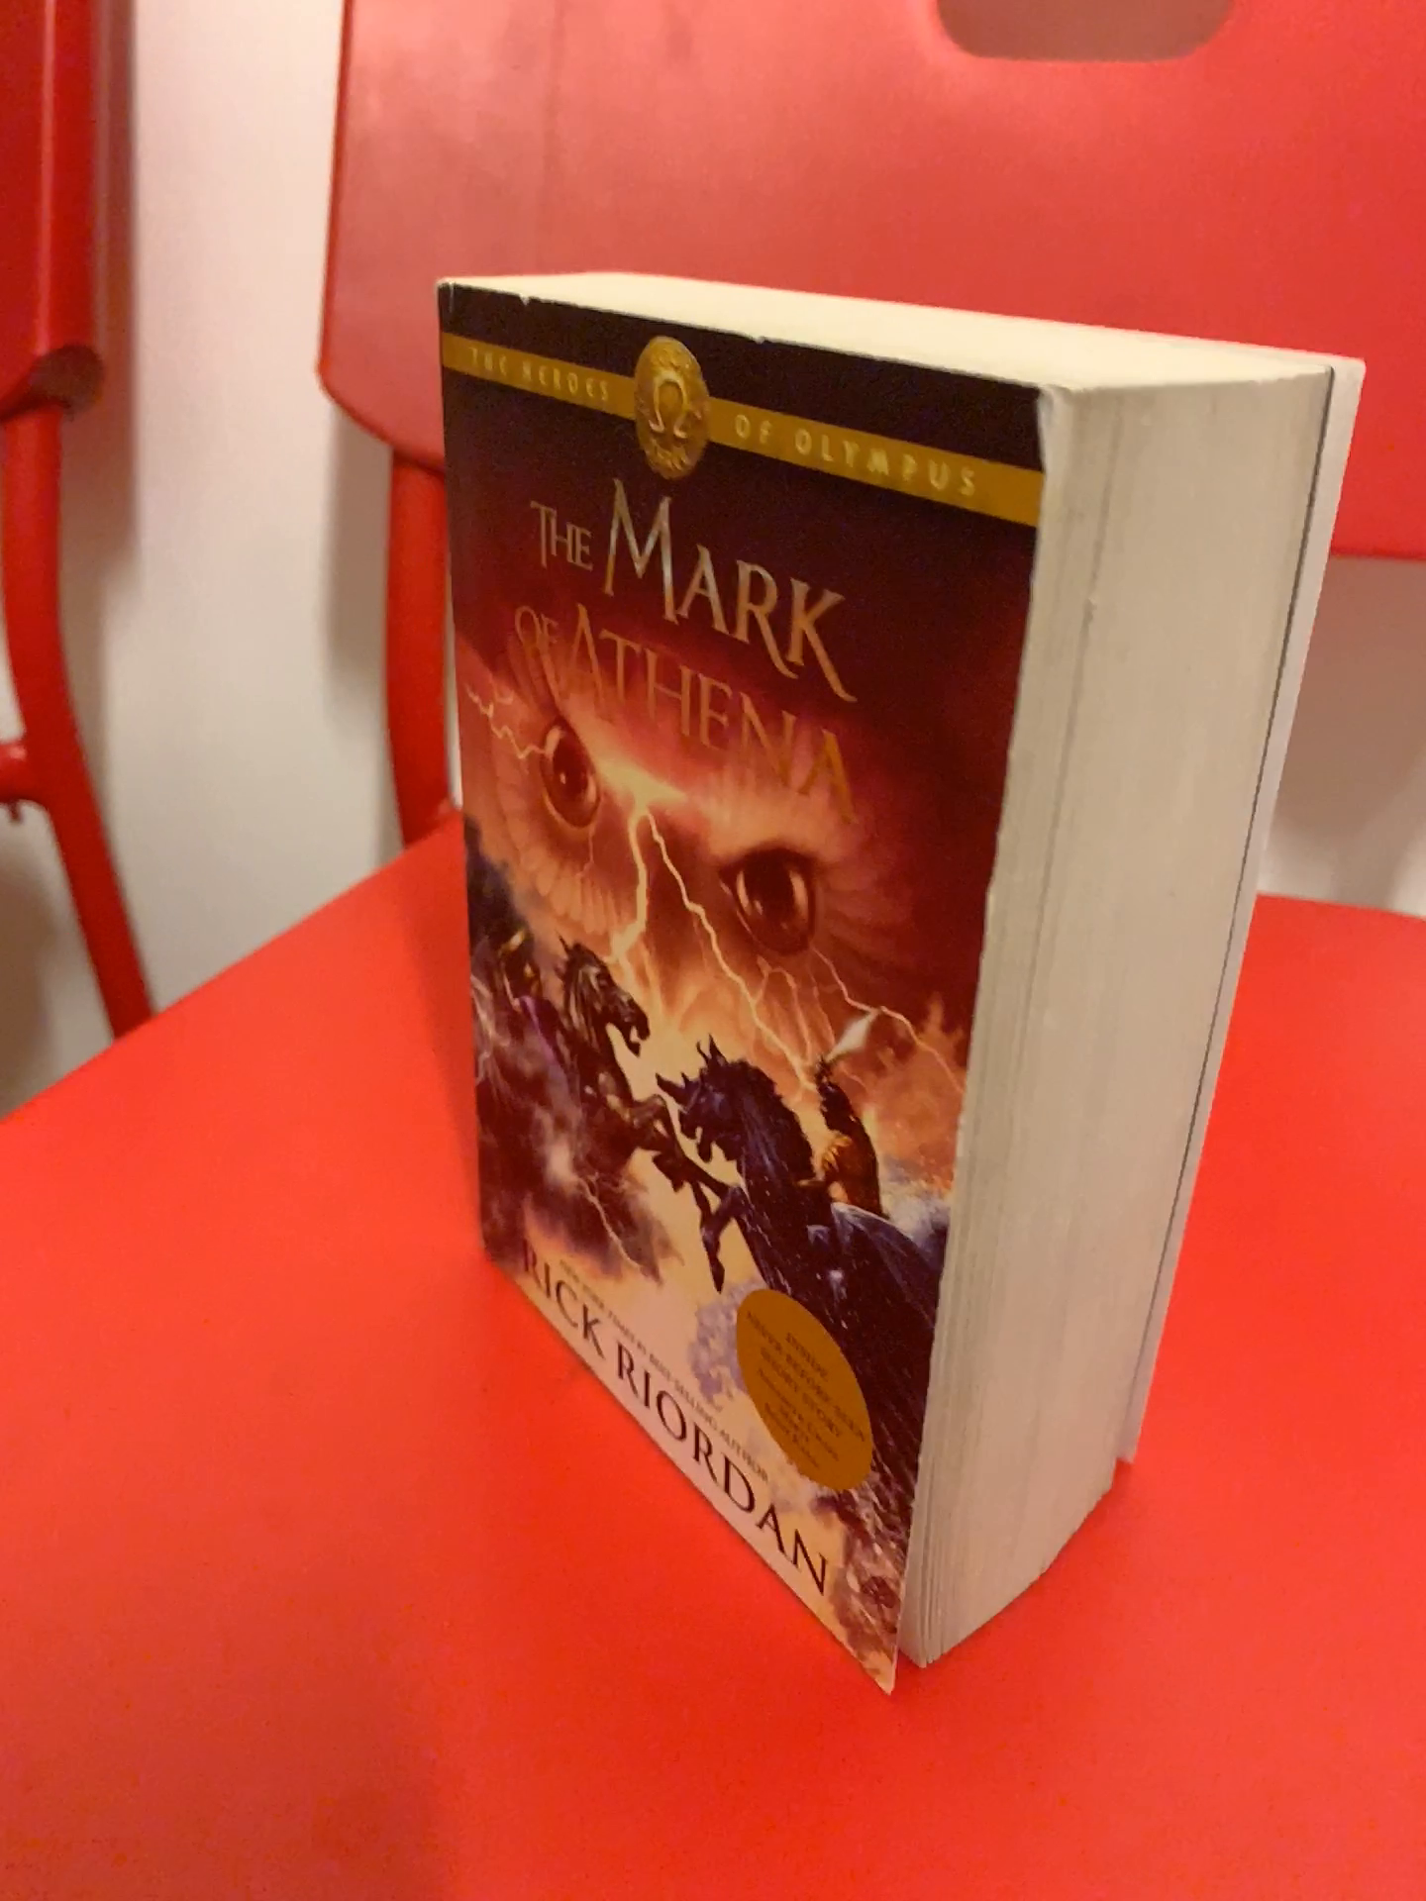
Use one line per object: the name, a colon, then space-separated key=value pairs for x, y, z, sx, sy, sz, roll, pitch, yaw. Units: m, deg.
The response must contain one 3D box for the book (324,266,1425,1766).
book: x=0.009 y=0.002 z=0.241 sx=0.061 sy=0.193 sz=0.140 roll=-23 pitch=37 yaw=-38
